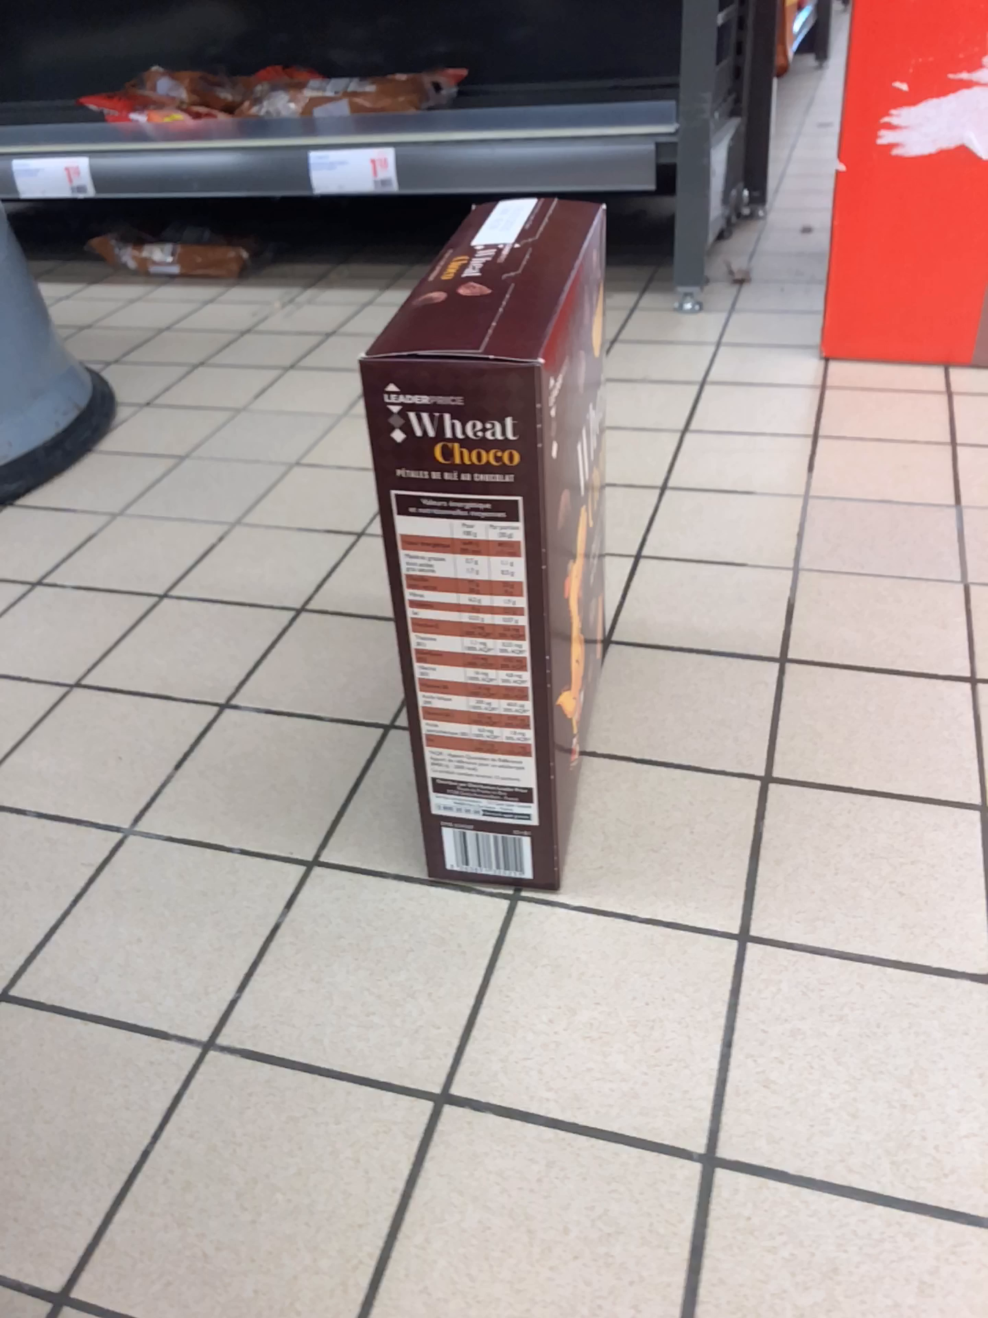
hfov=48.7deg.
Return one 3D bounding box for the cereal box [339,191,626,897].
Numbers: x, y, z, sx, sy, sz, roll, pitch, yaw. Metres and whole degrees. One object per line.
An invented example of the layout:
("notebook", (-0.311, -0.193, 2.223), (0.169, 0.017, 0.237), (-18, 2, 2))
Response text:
("cereal box", (0.014, -0.056, 0.497), (0.070, 0.249, 0.201), (3, 36, 12))
